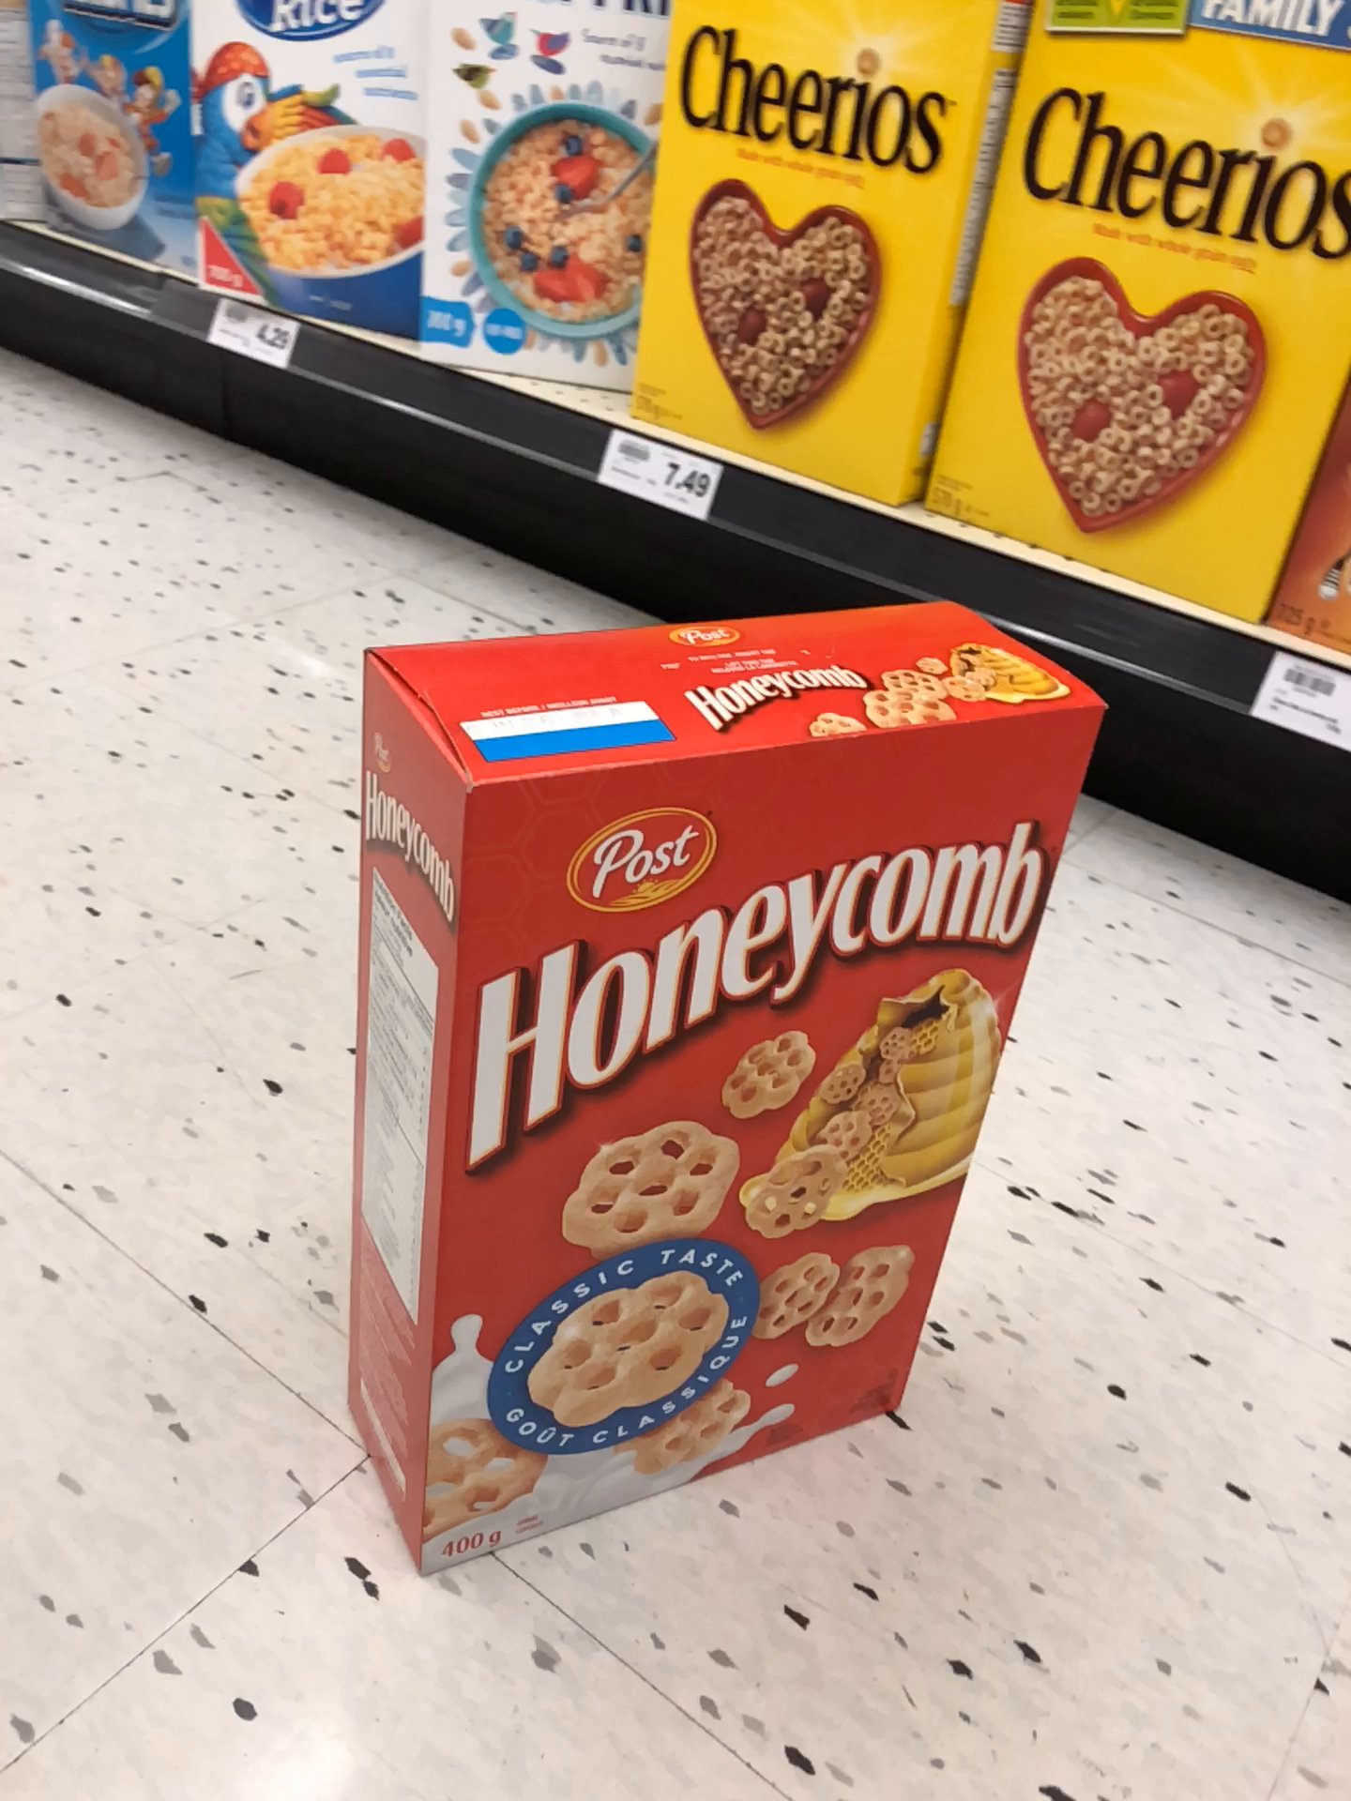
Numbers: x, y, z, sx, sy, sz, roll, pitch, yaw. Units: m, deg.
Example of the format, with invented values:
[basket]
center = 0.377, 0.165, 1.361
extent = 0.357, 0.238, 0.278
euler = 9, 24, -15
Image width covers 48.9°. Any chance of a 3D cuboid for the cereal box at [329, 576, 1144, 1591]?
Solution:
[cereal box]
center = 0.002, 0.060, 0.468
extent = 0.200, 0.298, 0.080
euler = -9, 36, -26
